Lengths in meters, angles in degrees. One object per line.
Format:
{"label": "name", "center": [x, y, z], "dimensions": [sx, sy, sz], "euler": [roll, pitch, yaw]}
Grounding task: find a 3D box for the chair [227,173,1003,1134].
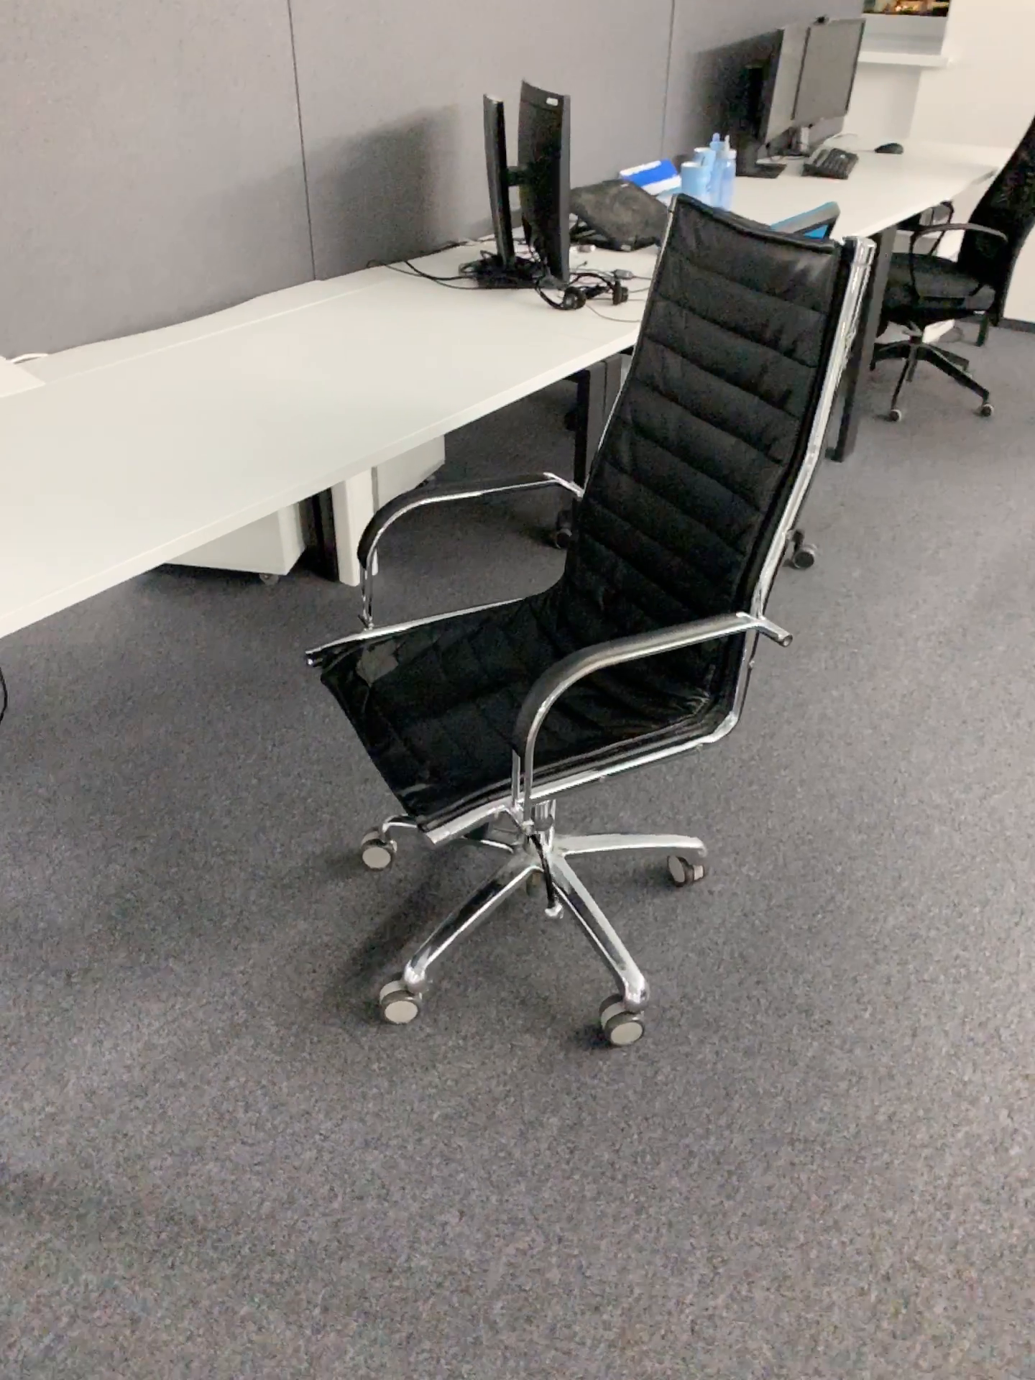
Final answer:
{"label": "chair", "center": [0.064, -0.072, 1.569], "dimensions": [0.691, 1.133, 0.643], "euler": [-14, 37, -20]}
